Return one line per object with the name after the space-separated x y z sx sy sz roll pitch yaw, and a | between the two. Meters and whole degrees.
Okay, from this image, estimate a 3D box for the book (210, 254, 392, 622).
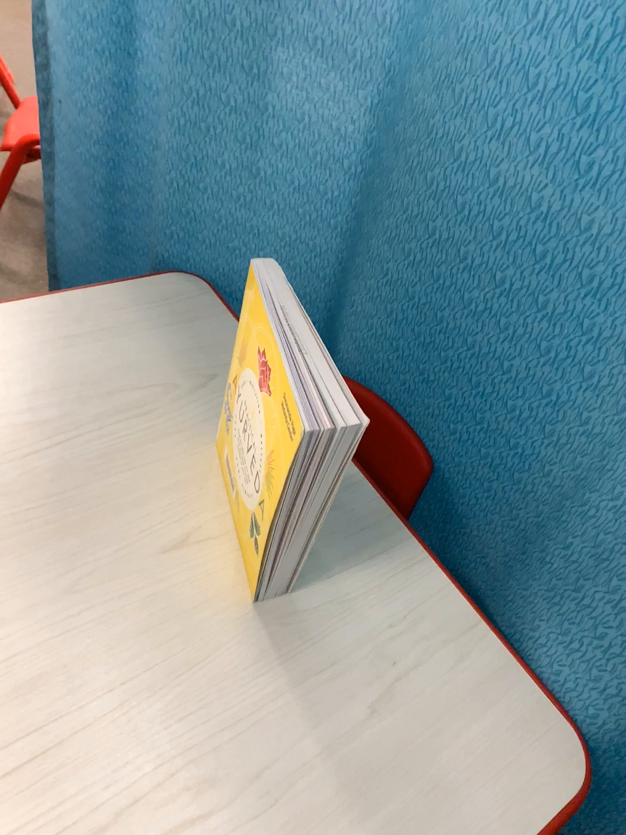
-0.031 0.024 0.584 0.050 0.259 0.211 -3 48 -22 | book
